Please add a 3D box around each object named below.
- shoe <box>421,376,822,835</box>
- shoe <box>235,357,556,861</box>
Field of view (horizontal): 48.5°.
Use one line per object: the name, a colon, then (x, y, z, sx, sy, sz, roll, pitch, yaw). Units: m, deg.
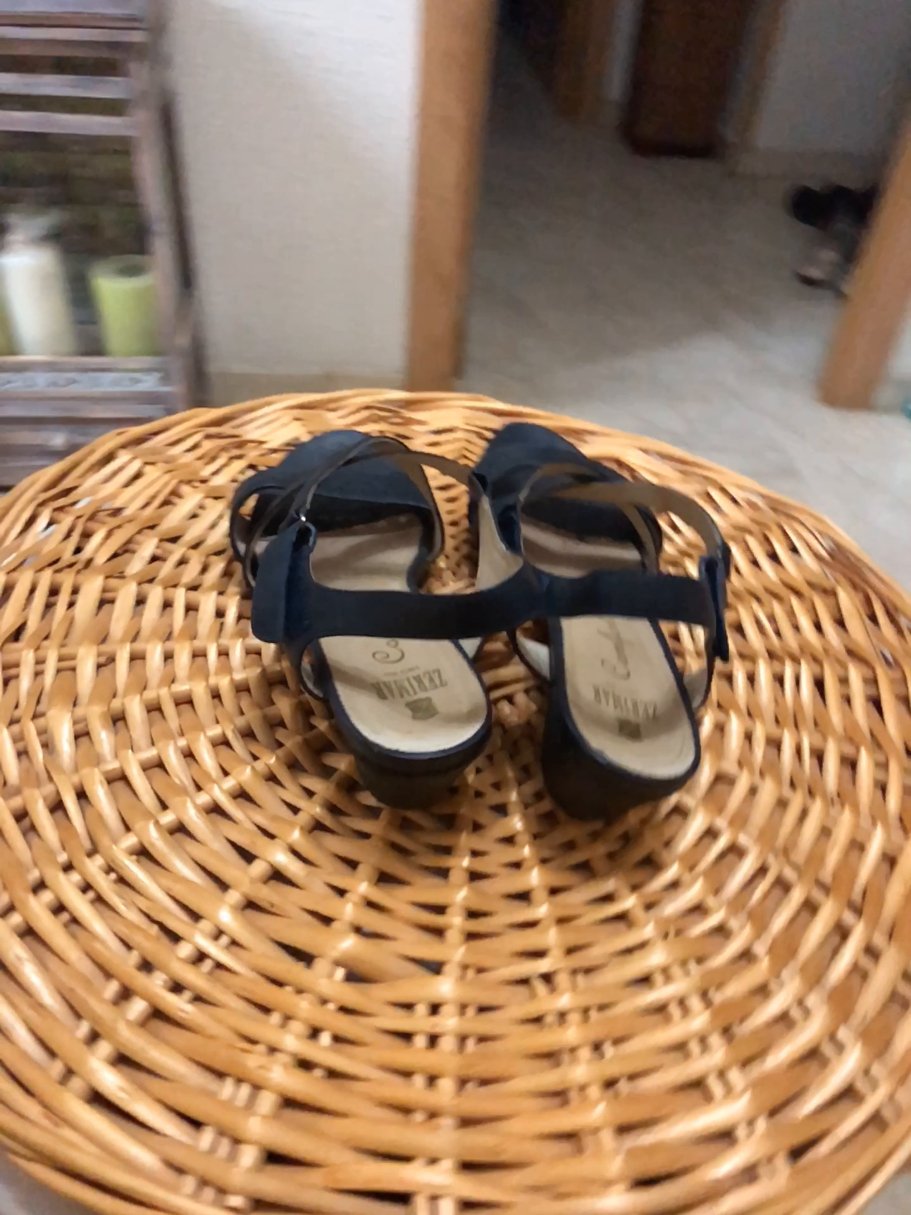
shoe: (0.052, -0.019, 0.460, 0.100, 0.092, 0.248, 8, 26, -11)
shoe: (-0.041, -0.020, 0.439, 0.090, 0.088, 0.249, -5, 35, -12)
